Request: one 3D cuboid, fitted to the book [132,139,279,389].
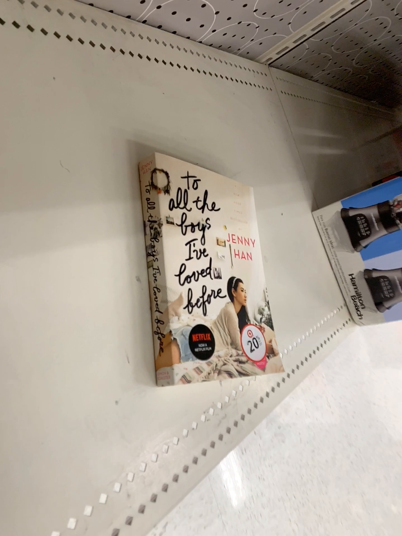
[{"bbox_3d":[0.008,0.000,0.406,0.144,0.034,0.213,8,70,-47],"label":"book"}]
